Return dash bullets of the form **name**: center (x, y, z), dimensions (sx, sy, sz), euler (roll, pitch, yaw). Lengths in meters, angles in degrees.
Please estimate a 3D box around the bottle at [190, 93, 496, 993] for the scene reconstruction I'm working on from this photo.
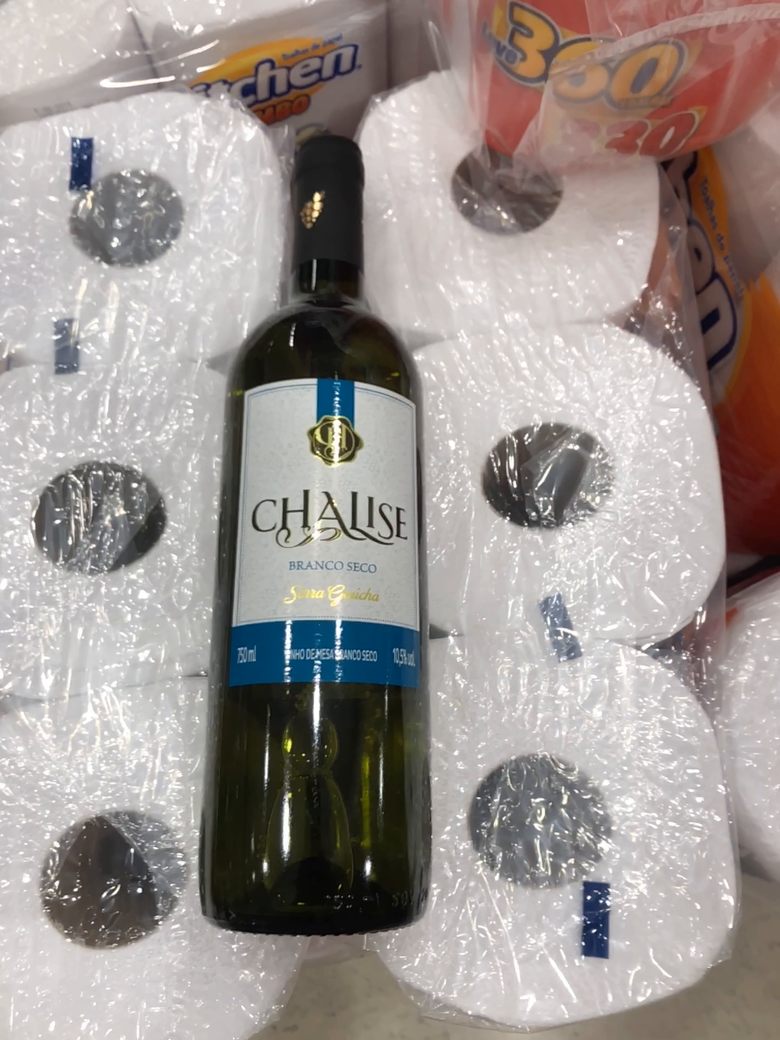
- **bottle**: center (-0.017, -0.004, 0.296), dimensions (0.080, 0.060, 0.281), euler (4, 72, -12)
